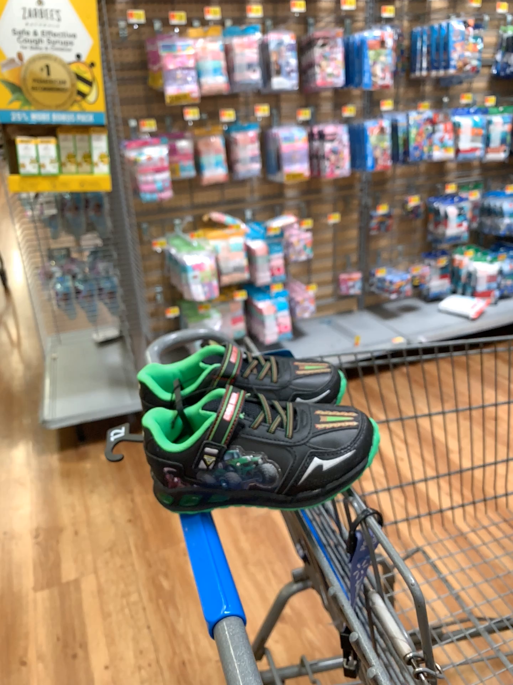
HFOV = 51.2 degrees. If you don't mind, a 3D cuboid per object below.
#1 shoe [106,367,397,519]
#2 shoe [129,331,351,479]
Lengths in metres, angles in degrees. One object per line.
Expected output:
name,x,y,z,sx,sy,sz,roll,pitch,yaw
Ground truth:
shoe,-0.001,0.082,0.450,0.213,0.086,0.090,-1,25,4
shoe,-0.014,0.058,0.529,0.194,0.093,0.095,-4,25,-2
